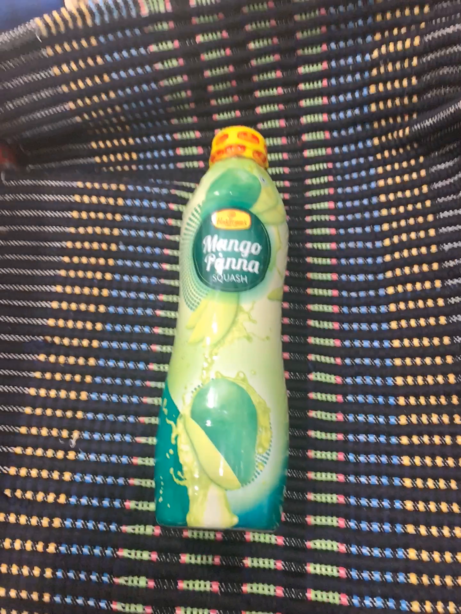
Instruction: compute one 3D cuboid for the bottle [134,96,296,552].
[{"bbox_3d":[0.000,-0.008,0.287,0.070,0.050,0.270,4,65,0],"label":"bottle"}]
